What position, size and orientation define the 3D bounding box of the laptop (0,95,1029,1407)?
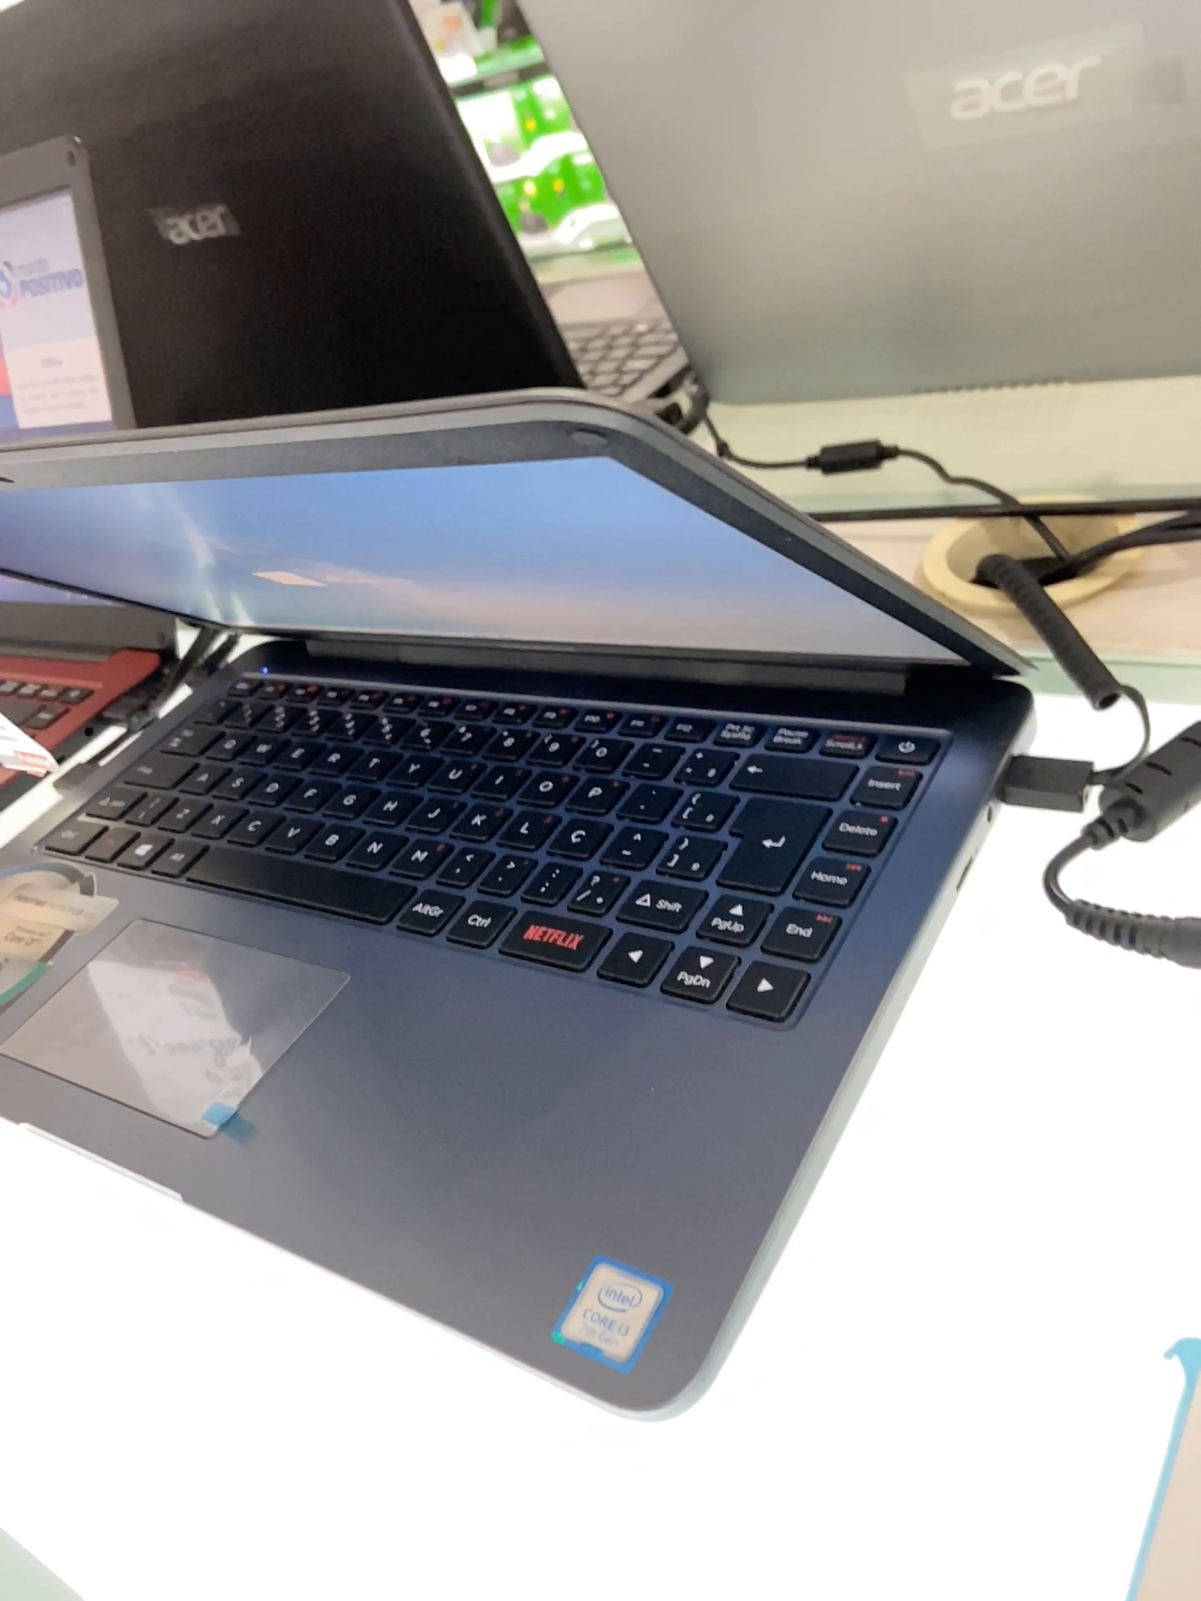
[{"bbox_3d":[-0.088,-0.038,0.321,0.317,0.145,0.211,7,43,35],"label":"laptop"}]
